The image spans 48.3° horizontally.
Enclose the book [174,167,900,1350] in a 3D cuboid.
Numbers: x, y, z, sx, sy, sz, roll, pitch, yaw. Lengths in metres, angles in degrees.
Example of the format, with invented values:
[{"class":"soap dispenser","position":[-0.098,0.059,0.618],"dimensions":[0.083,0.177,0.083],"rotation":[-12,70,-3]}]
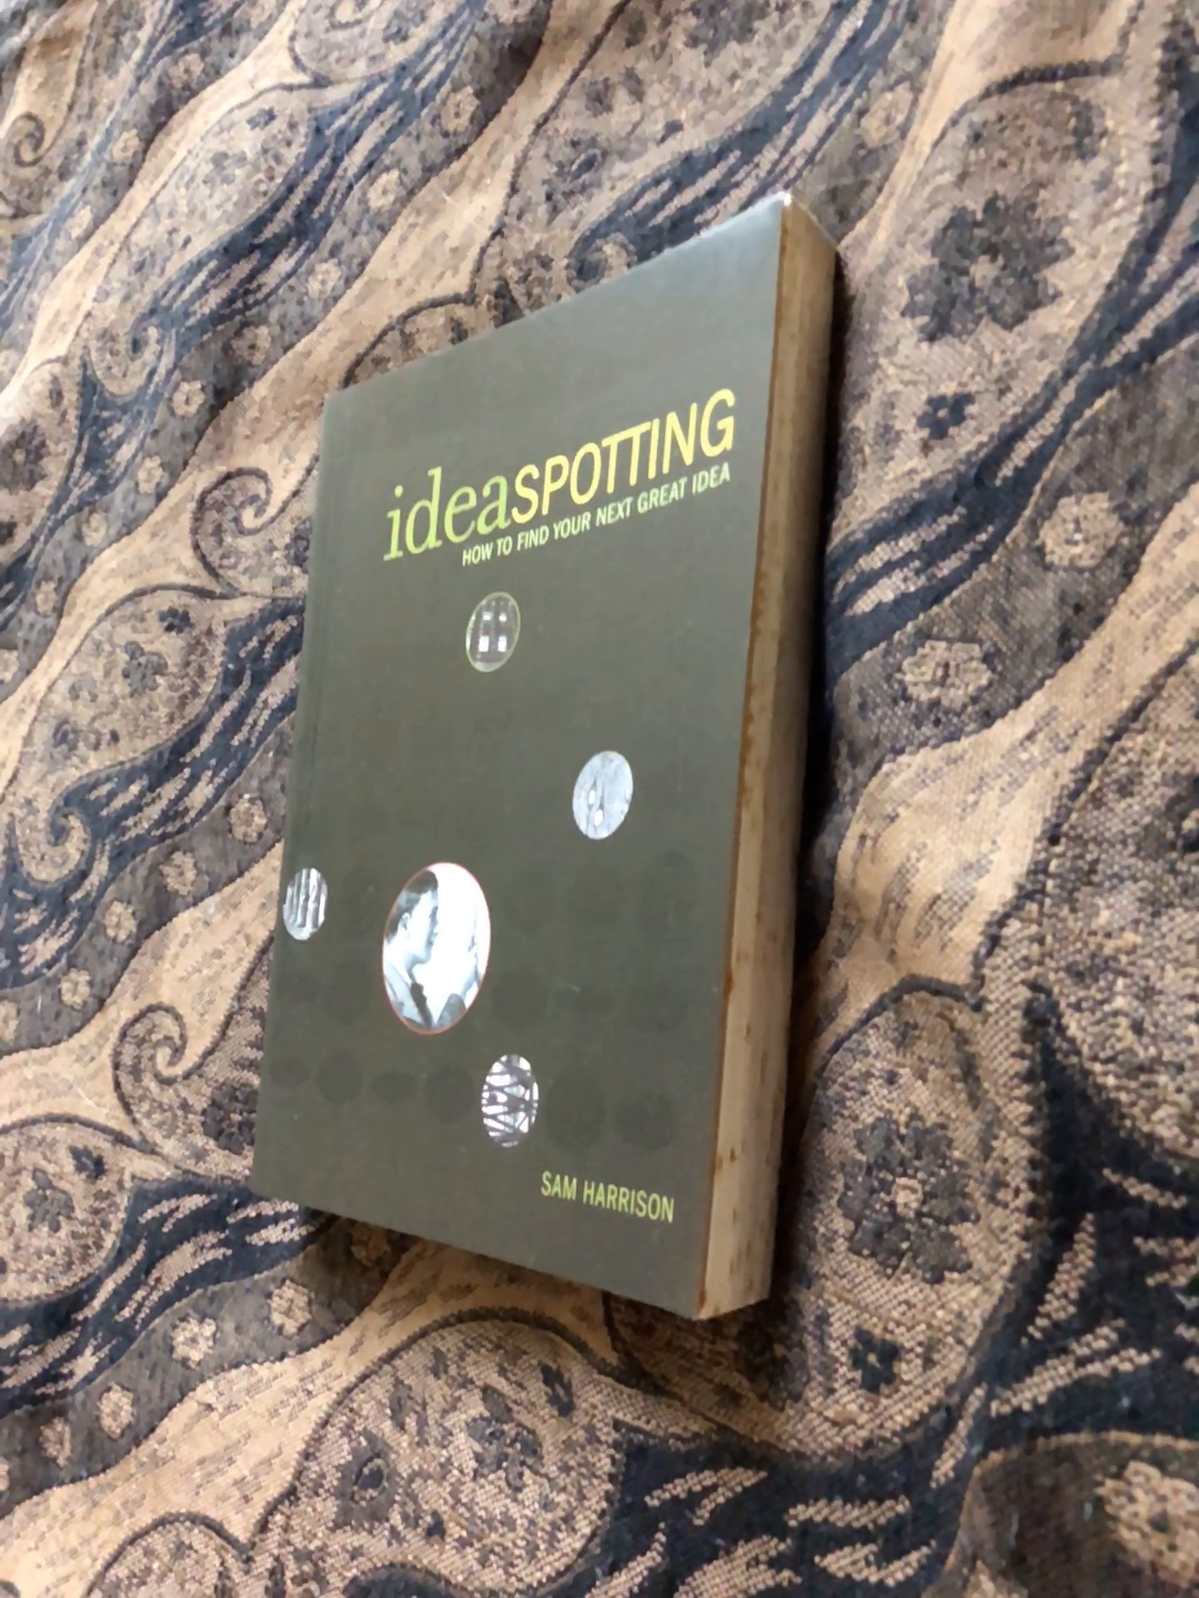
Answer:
[{"class":"book","position":[-0.017,-0.005,0.261],"dimensions":[0.141,0.040,0.180],"rotation":[-5,76,43]}]
